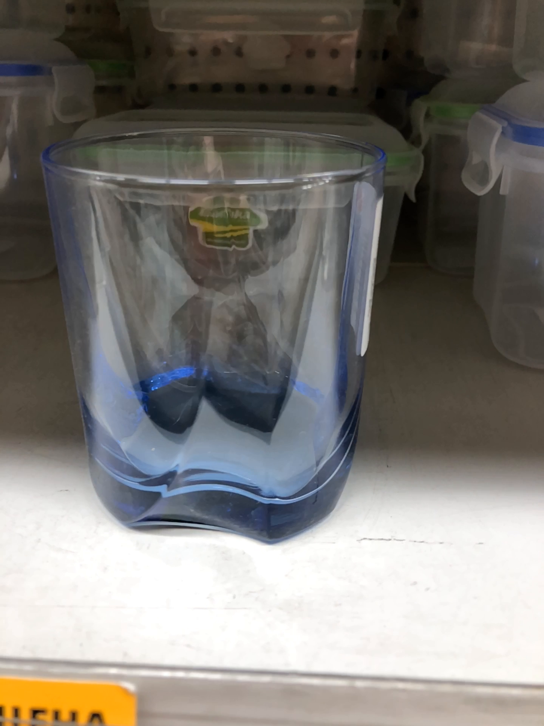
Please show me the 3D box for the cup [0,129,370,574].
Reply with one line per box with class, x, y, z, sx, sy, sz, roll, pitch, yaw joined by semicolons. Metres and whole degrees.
cup;-0.018;-0.011;0.172;0.085;0.094;0.083;0;26;0
